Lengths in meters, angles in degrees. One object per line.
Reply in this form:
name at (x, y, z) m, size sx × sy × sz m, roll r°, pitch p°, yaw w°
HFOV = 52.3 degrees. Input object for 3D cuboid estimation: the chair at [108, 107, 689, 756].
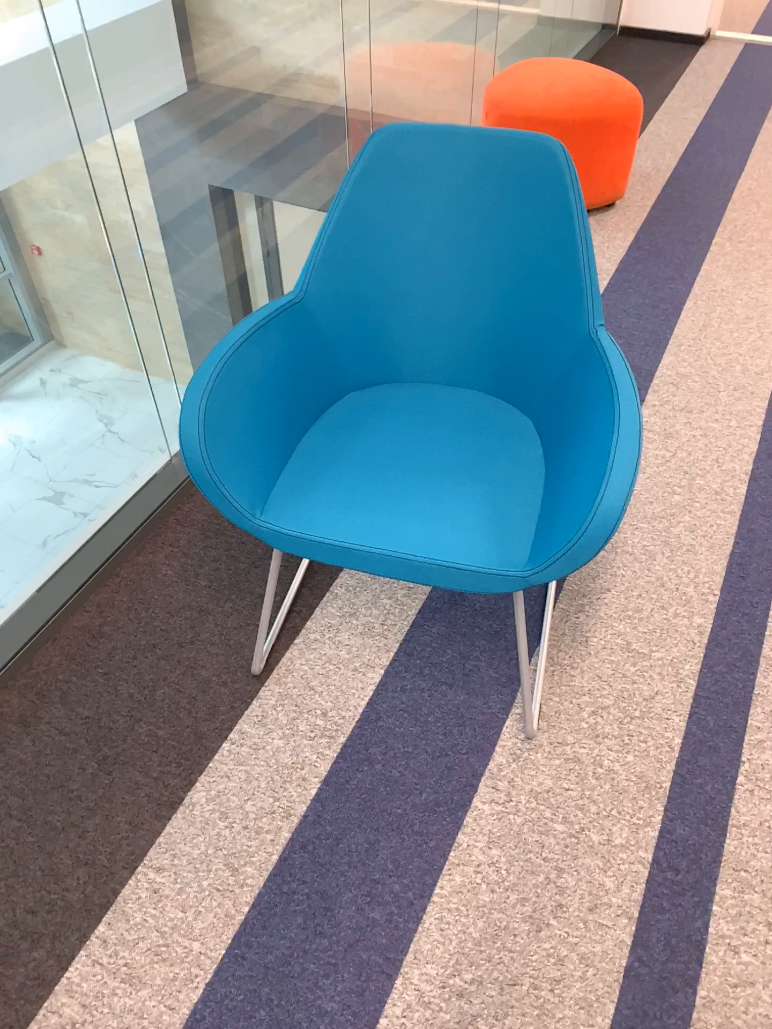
chair at (0.079, -0.142, 1.411) m, size 0.671 × 0.836 × 0.653 m, roll 11°, pitch 47°, yaw 12°

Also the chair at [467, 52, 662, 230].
chair at (0.721, -1.523, 3.174) m, size 0.639 × 0.396 × 0.653 m, roll 11°, pitch 47°, yaw 12°
